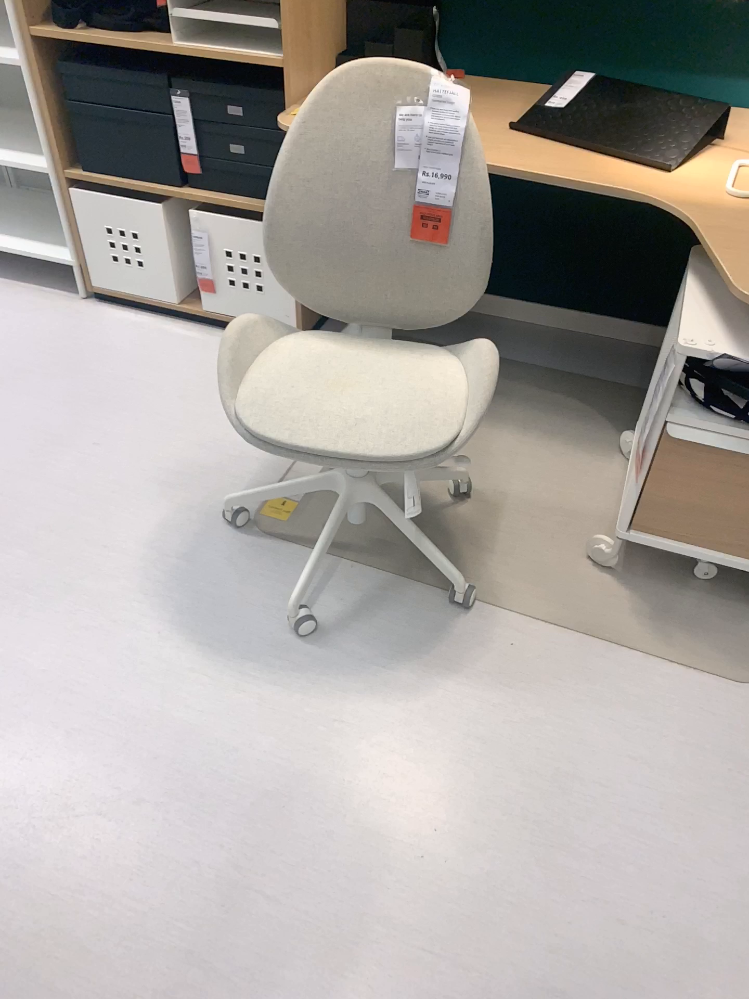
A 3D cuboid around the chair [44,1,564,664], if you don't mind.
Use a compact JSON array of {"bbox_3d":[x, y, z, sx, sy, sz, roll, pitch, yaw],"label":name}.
[{"bbox_3d":[-0.050,-0.294,1.469,0.630,0.995,0.643,8,42,7],"label":"chair"}]
